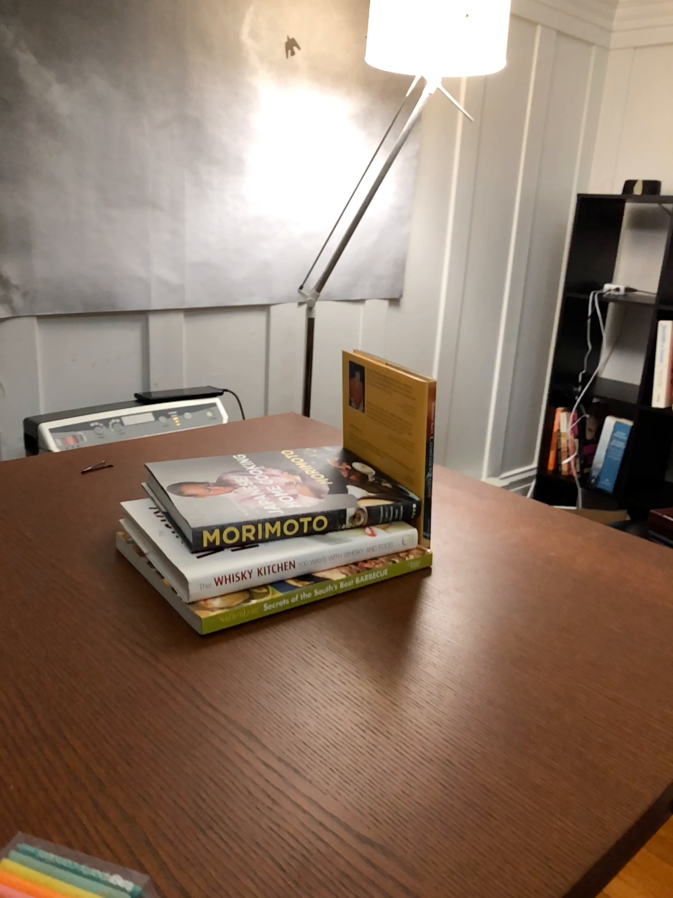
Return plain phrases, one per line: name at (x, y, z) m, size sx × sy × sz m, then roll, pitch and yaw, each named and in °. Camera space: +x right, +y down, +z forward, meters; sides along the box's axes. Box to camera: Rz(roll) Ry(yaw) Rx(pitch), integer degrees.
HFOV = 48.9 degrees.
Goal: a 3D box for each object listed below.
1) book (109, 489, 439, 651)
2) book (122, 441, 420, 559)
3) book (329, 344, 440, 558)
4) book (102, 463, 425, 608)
book at (-0.069, 0.113, 0.799) m, size 0.280 × 0.030 × 0.221 m, roll -8°, pitch 21°, yaw -35°
book at (-0.082, 0.047, 0.861) m, size 0.280 × 0.030 × 0.221 m, roll -5°, pitch 20°, yaw -28°
book at (0.050, -0.007, 0.906) m, size 0.030 × 0.209 × 0.211 m, roll -7°, pitch 19°, yaw -25°
book at (-0.083, 0.079, 0.811) m, size 0.280 × 0.030 × 0.221 m, roll -7°, pitch 21°, yaw -33°
